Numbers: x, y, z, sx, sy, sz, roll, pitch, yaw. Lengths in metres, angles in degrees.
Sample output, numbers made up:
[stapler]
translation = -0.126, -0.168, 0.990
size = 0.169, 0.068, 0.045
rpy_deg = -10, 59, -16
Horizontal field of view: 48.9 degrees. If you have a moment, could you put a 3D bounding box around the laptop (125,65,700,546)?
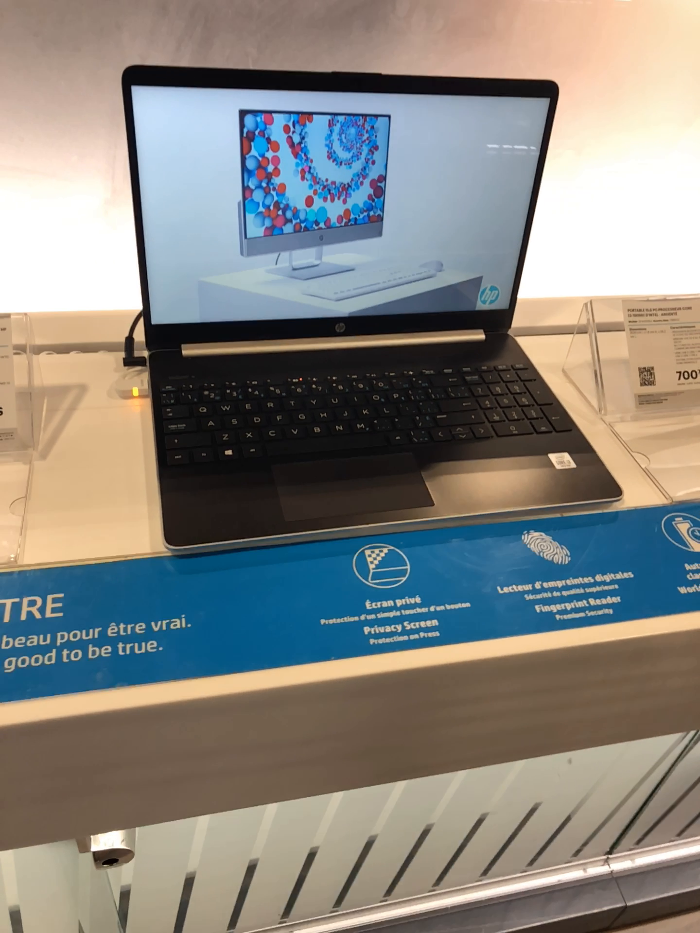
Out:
[laptop]
translation = 0.023, -0.140, 0.597
size = 0.355, 0.221, 0.284
rpy_deg = -5, 44, -14
